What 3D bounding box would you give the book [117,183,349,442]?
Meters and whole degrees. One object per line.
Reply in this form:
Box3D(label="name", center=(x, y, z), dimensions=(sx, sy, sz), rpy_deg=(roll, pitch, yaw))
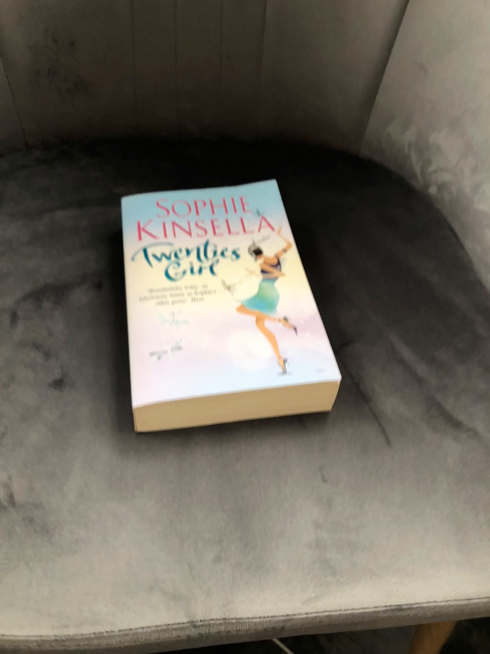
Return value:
Box3D(label="book", center=(-0.021, -0.025, 0.396), dimensions=(0.132, 0.043, 0.201), rpy_deg=(-5, 50, -11))
